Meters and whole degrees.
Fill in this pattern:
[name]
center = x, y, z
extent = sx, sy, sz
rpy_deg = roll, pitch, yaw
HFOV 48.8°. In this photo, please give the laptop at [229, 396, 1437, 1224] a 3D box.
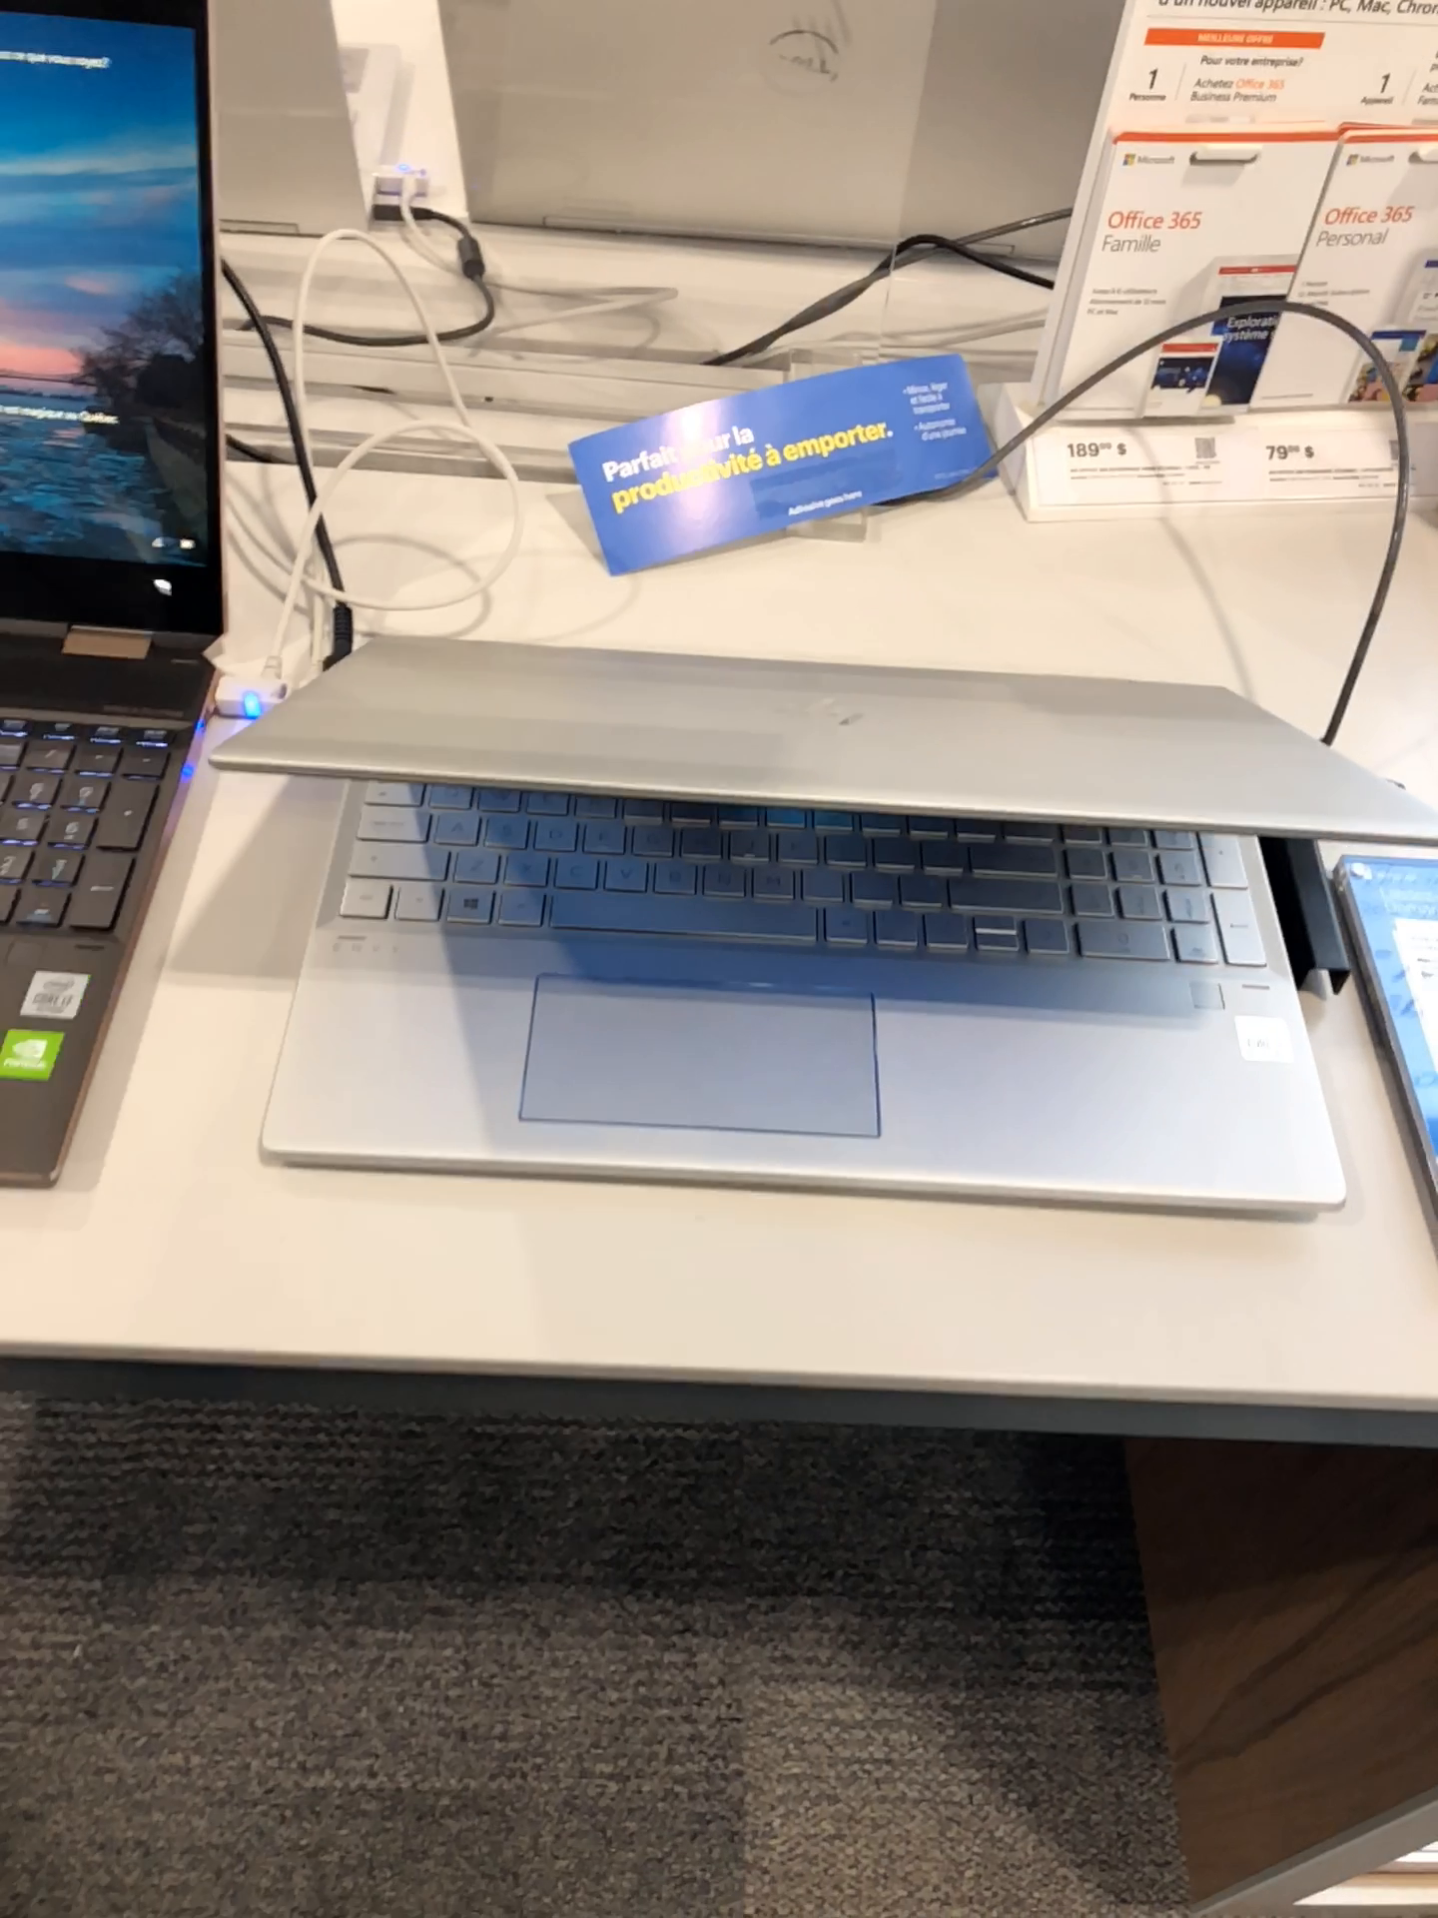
[laptop]
center = 0.045, -0.055, 0.524
extent = 0.346, 0.116, 0.230
rpy_deg = 3, 53, -1
